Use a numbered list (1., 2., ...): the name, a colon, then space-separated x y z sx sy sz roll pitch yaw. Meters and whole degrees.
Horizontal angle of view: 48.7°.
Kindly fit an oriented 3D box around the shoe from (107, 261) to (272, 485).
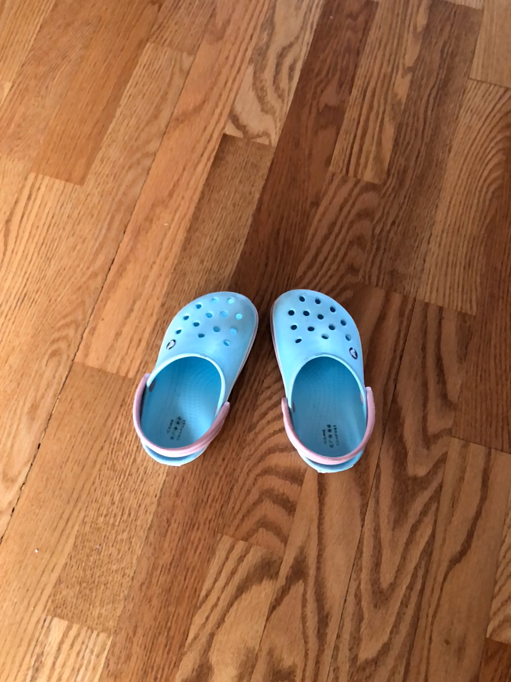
1. shoe: -0.051 0.027 0.482 0.083 0.057 0.165 17 74 4

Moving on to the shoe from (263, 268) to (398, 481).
1. shoe: 0.058 0.028 0.480 0.083 0.048 0.165 -6 74 -3
